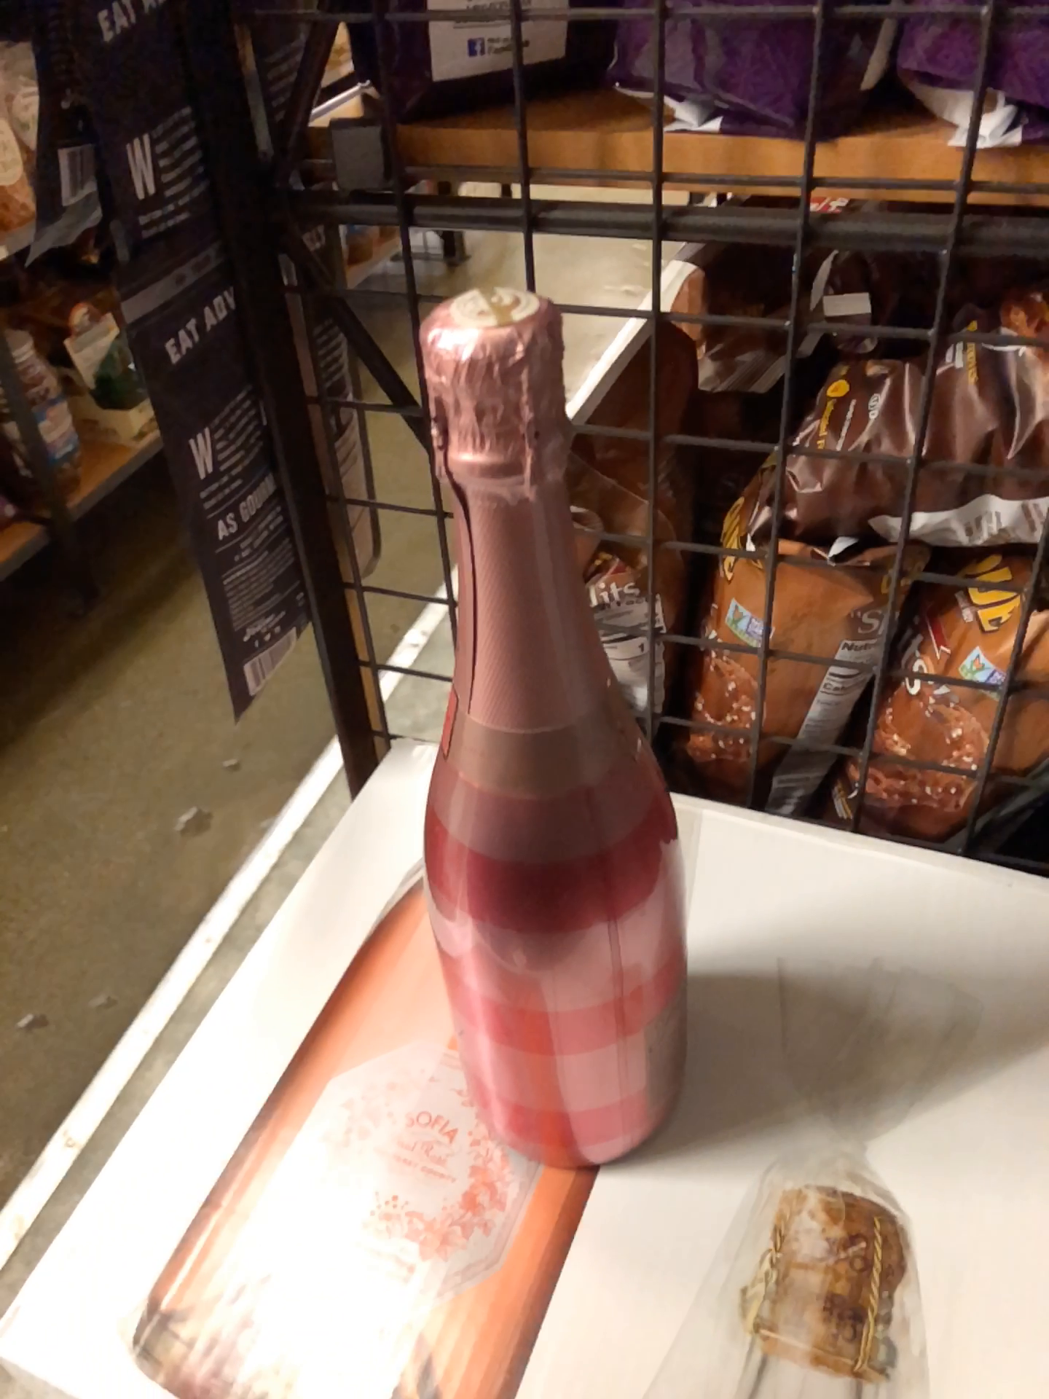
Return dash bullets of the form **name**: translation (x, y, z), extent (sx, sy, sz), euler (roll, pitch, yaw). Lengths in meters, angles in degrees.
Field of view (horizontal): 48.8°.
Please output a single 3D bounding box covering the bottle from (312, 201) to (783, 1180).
- **bottle**: translation (0.014, 0.025, 0.354), extent (0.090, 0.309, 0.090), euler (-3, 40, 2)
